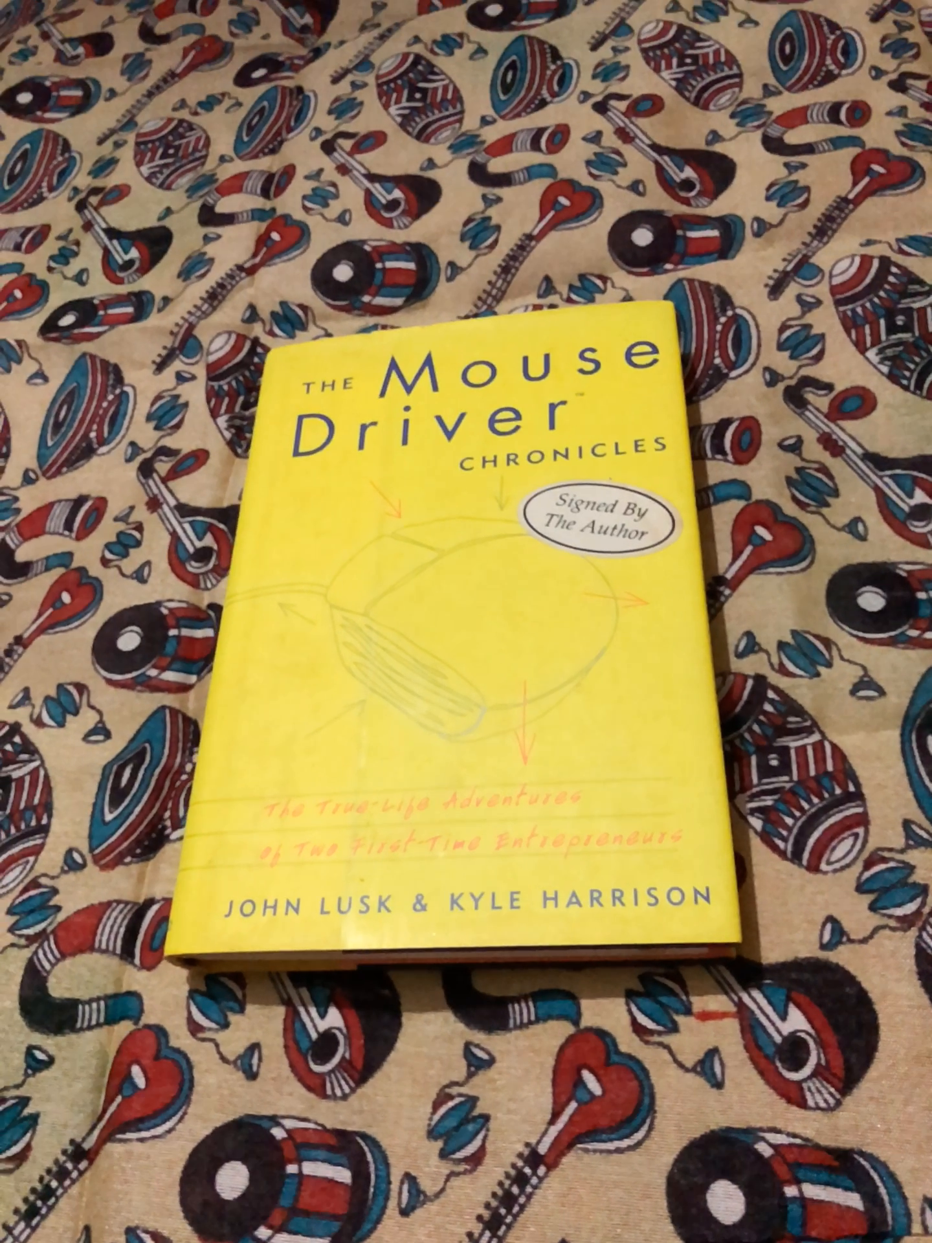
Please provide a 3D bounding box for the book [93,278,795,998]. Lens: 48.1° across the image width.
[{"bbox_3d":[-0.003,-0.007,0.312,0.160,0.040,0.220,-4,55,9],"label":"book"}]
